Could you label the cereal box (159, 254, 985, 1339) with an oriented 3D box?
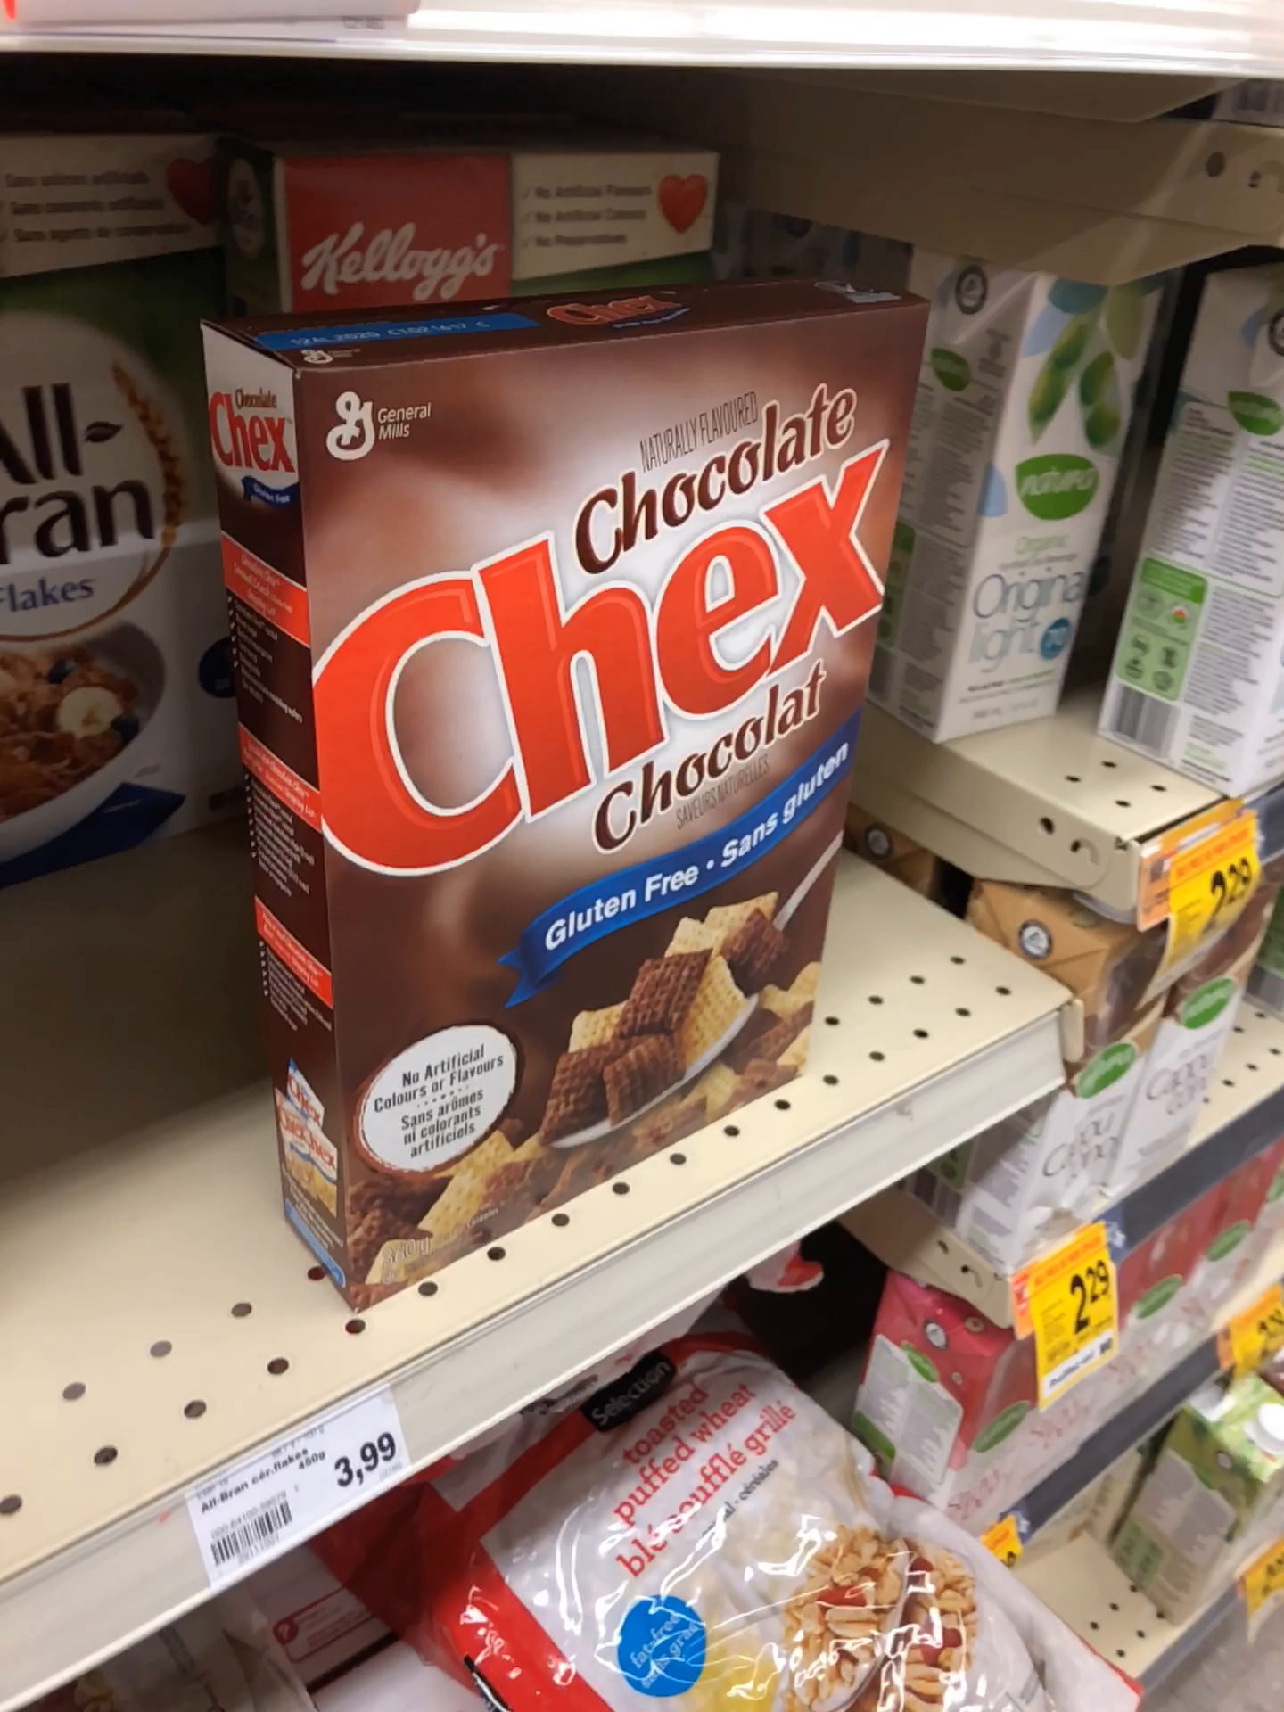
[{"bbox_3d":[-0.014,-0.018,0.416,0.211,0.278,0.050,-20,40,-34],"label":"cereal box"}]
